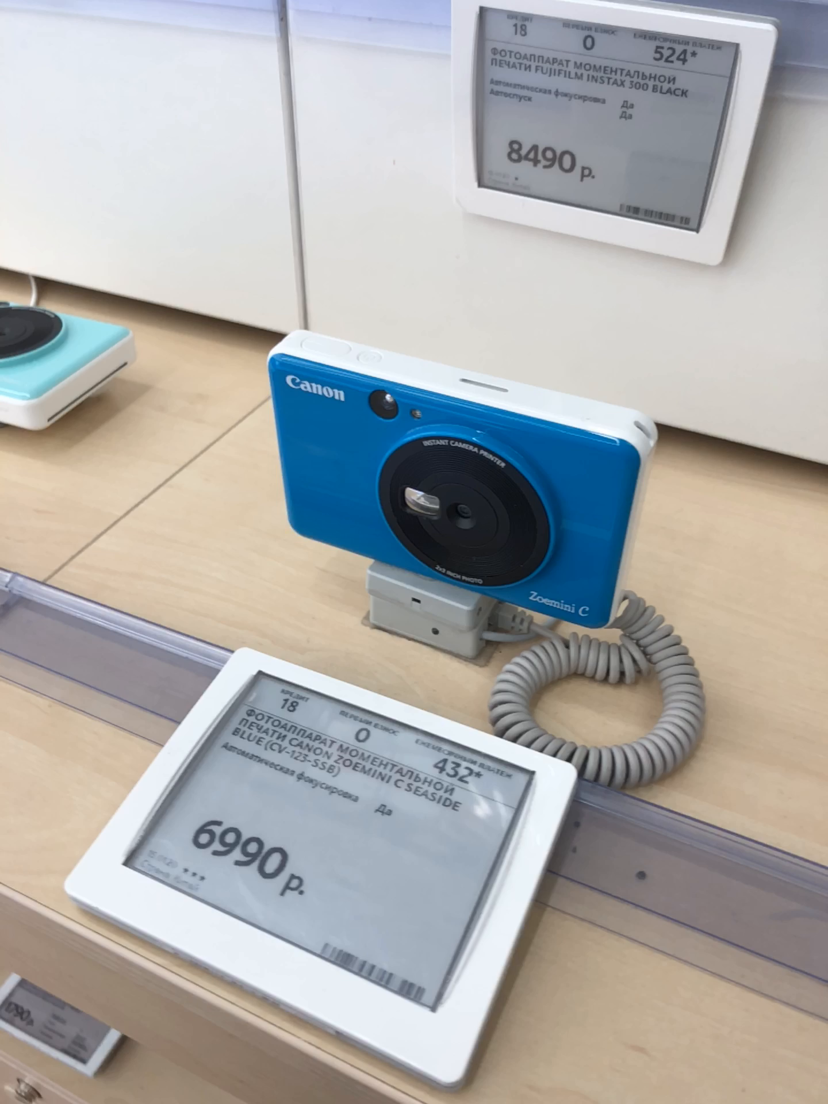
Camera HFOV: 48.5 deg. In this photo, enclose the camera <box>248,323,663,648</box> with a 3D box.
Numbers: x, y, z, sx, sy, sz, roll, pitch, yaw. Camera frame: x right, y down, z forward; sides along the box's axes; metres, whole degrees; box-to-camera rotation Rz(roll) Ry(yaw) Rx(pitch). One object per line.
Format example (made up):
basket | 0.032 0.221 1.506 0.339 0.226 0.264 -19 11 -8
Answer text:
camera | 0.010 -0.022 0.288 0.119 0.072 0.025 18 47 20
